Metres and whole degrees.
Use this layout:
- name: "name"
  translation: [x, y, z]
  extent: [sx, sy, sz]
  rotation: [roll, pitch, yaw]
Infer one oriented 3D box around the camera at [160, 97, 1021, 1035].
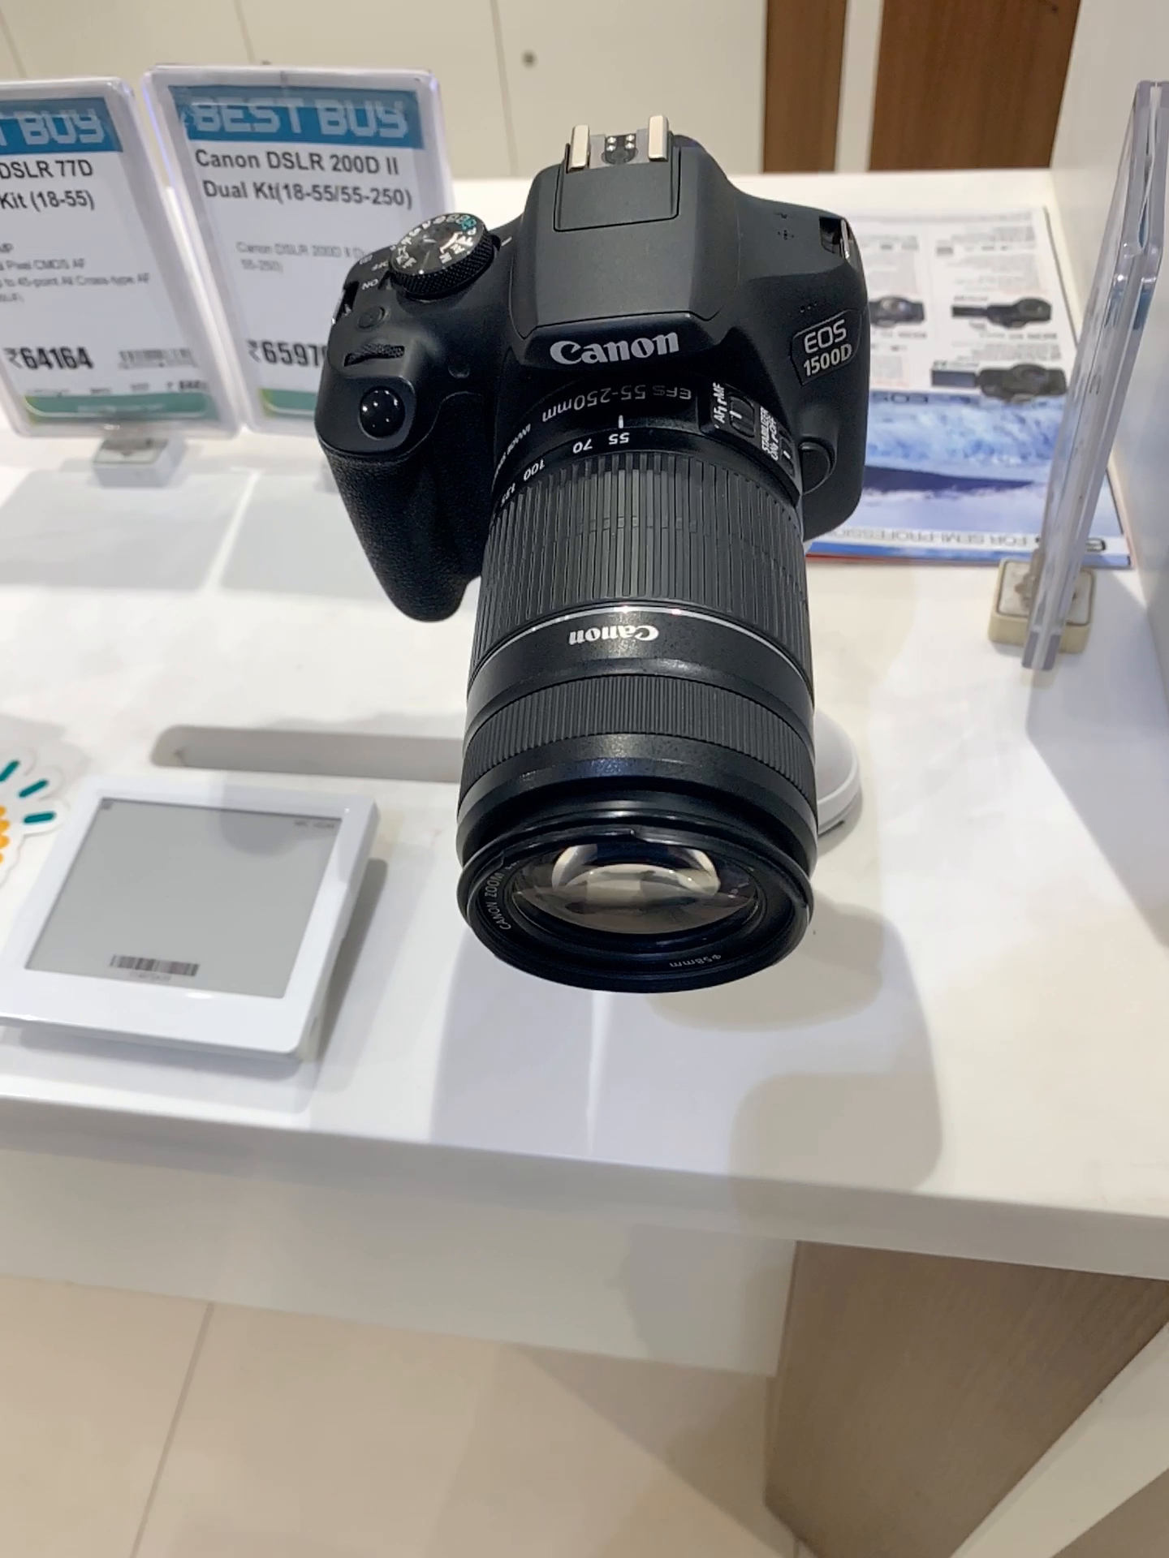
- name: "camera"
  translation: [0.004, -0.044, 0.246]
  extent: [0.117, 0.090, 0.164]
  rotation: [-2, 58, 5]
